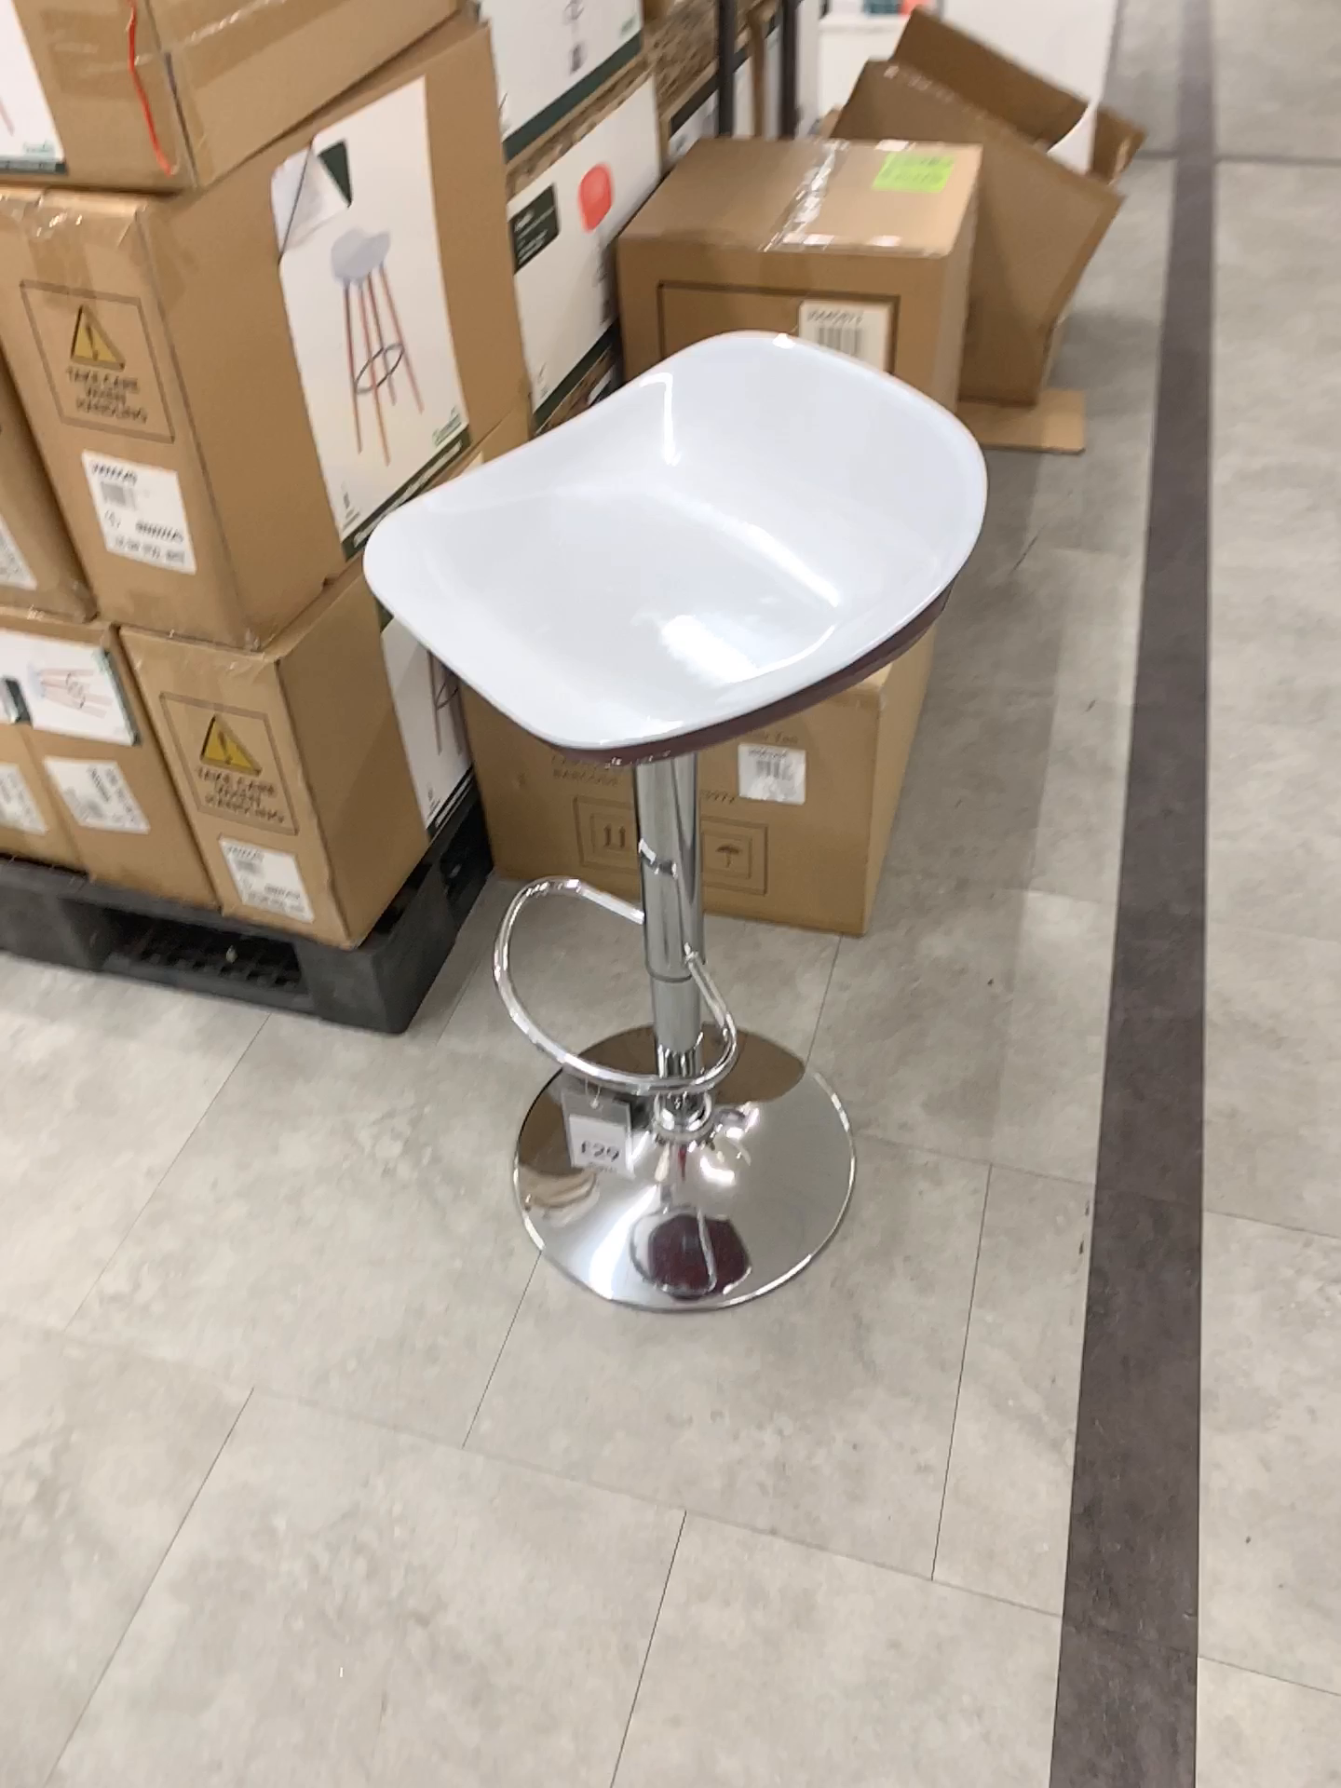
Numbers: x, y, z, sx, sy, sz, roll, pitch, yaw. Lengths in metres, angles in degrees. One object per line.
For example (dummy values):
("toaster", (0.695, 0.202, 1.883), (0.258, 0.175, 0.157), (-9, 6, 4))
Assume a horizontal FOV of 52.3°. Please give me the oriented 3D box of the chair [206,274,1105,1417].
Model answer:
("chair", (-0.003, -0.021, 1.201), (0.435, 0.792, 0.438), (-31, 50, -26))
